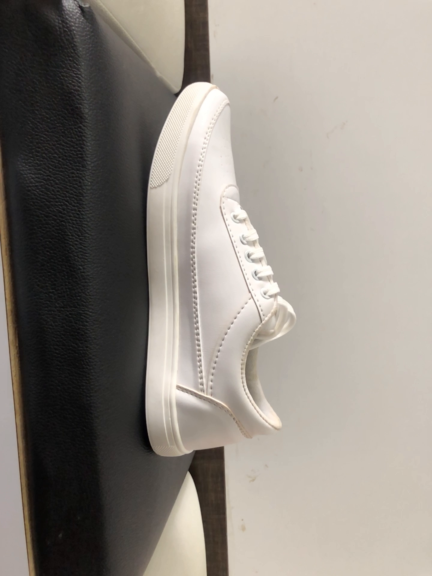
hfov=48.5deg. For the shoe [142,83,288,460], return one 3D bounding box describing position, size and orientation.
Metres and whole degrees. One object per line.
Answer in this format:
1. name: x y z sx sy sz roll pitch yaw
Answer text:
1. shoe: 0.007 -0.011 0.440 0.130 0.110 0.290 5 83 -82
